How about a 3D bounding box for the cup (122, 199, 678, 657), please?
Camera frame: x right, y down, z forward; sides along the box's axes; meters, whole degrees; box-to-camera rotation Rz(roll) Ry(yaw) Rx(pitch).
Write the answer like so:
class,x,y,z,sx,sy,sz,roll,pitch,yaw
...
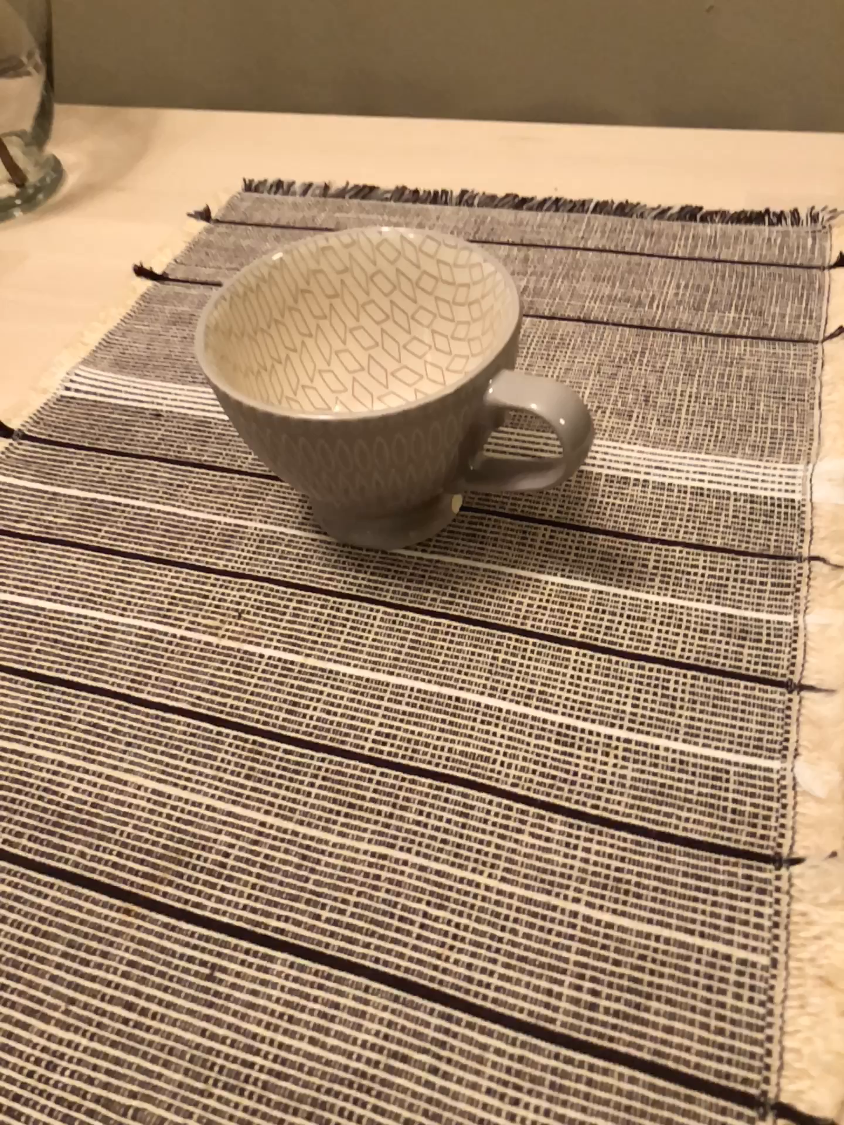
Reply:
class,x,y,z,sx,sy,sz,roll,pitch,yaw
cup,-0.003,-0.057,0.338,0.150,0.080,0.110,20,53,24
